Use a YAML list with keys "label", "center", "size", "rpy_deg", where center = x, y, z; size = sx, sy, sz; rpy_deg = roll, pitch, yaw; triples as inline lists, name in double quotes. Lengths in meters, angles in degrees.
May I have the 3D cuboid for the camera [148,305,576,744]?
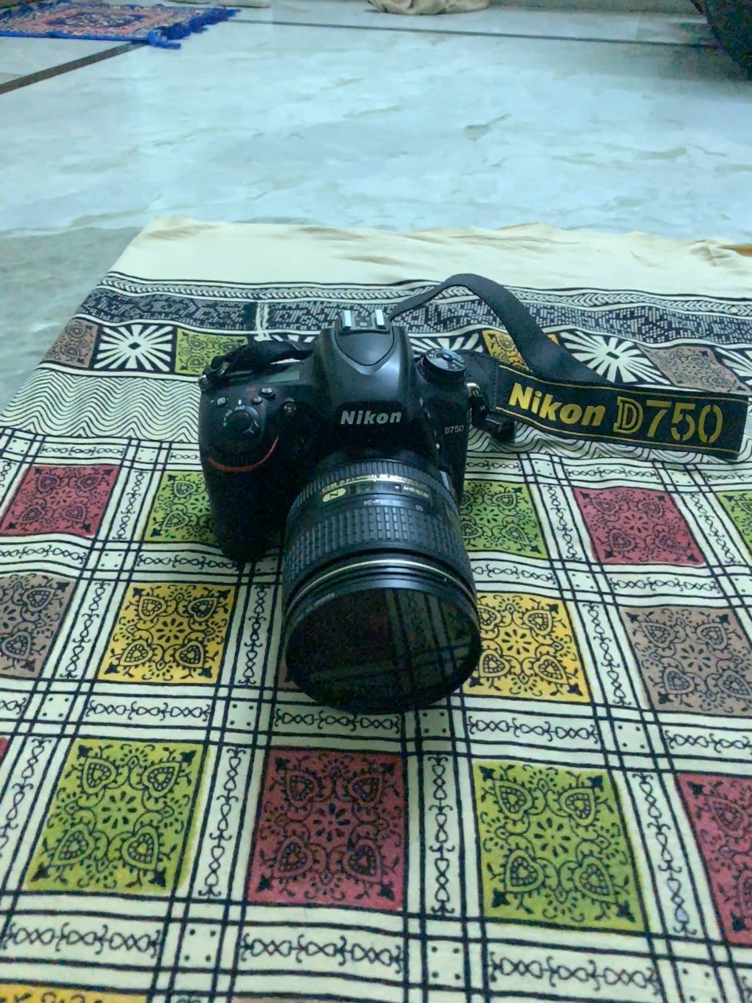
- label: "camera"
  center: [-0.009, -0.003, 0.357]
  size: [0.140, 0.100, 0.191]
  rpy_deg: [-2, 38, -3]
